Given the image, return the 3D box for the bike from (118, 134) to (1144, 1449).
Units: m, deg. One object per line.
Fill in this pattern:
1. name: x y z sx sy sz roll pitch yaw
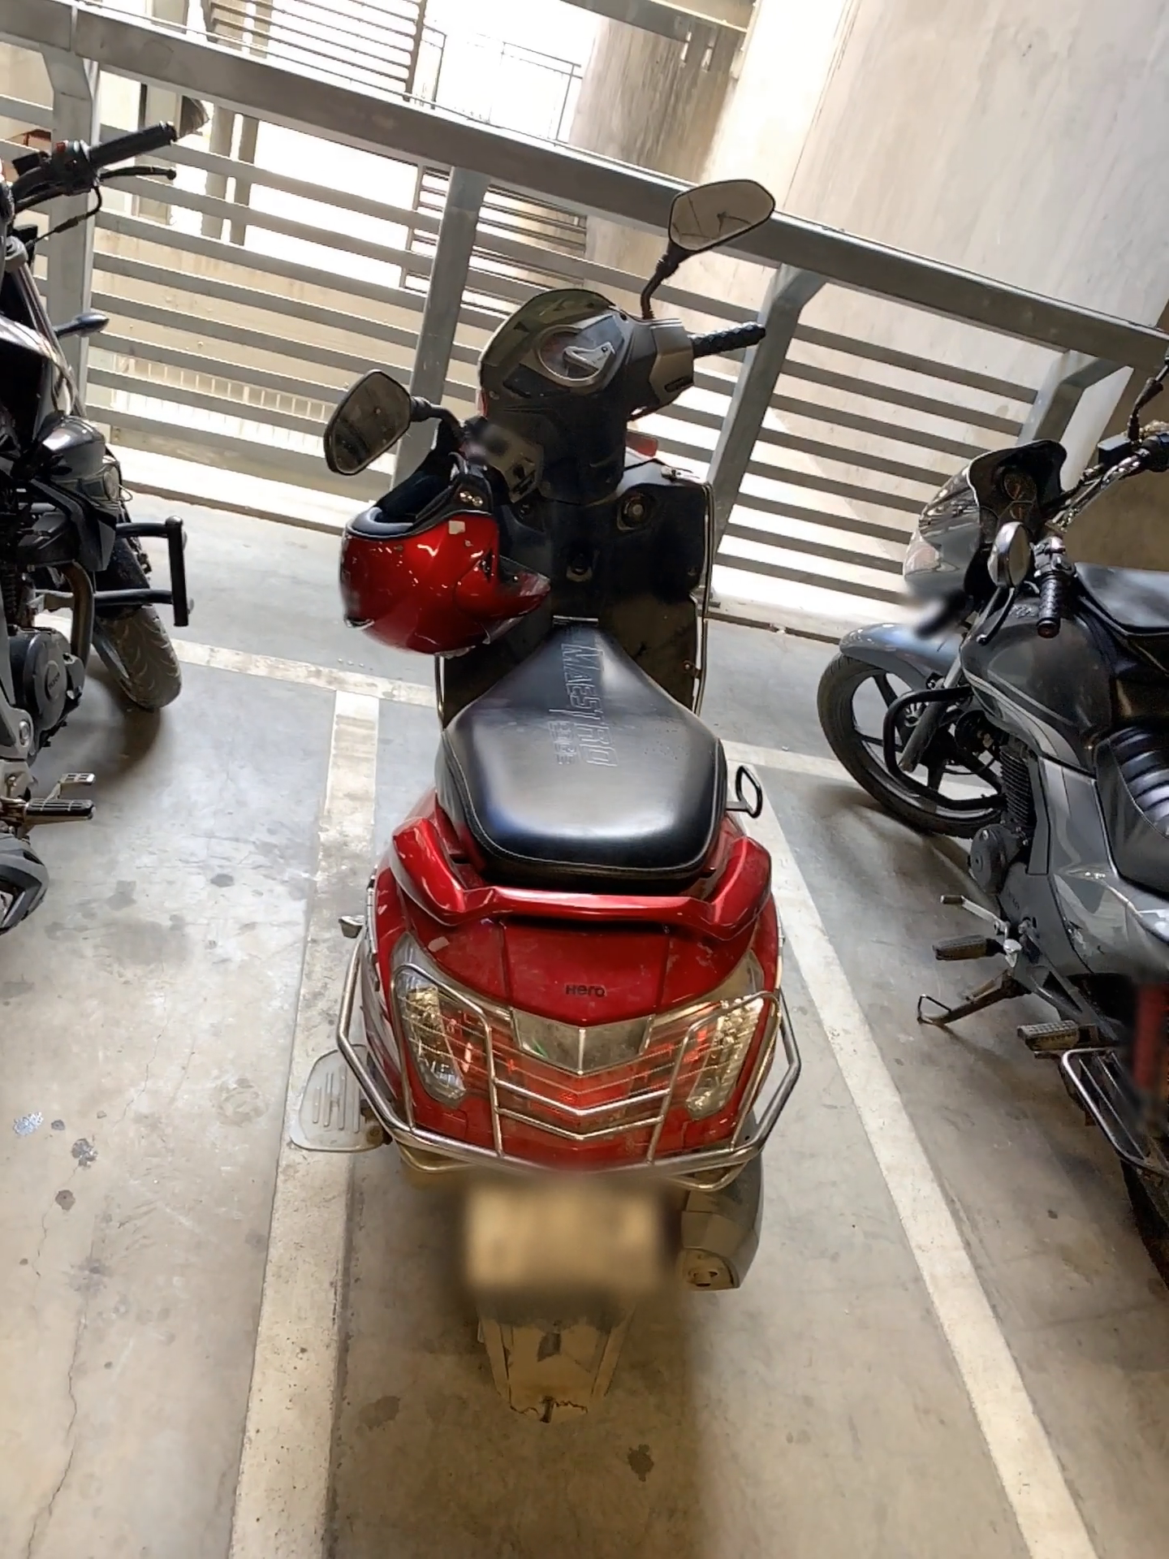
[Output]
1. bike: -0.156 -0.189 1.943 0.725 1.165 1.858 10 32 -15
